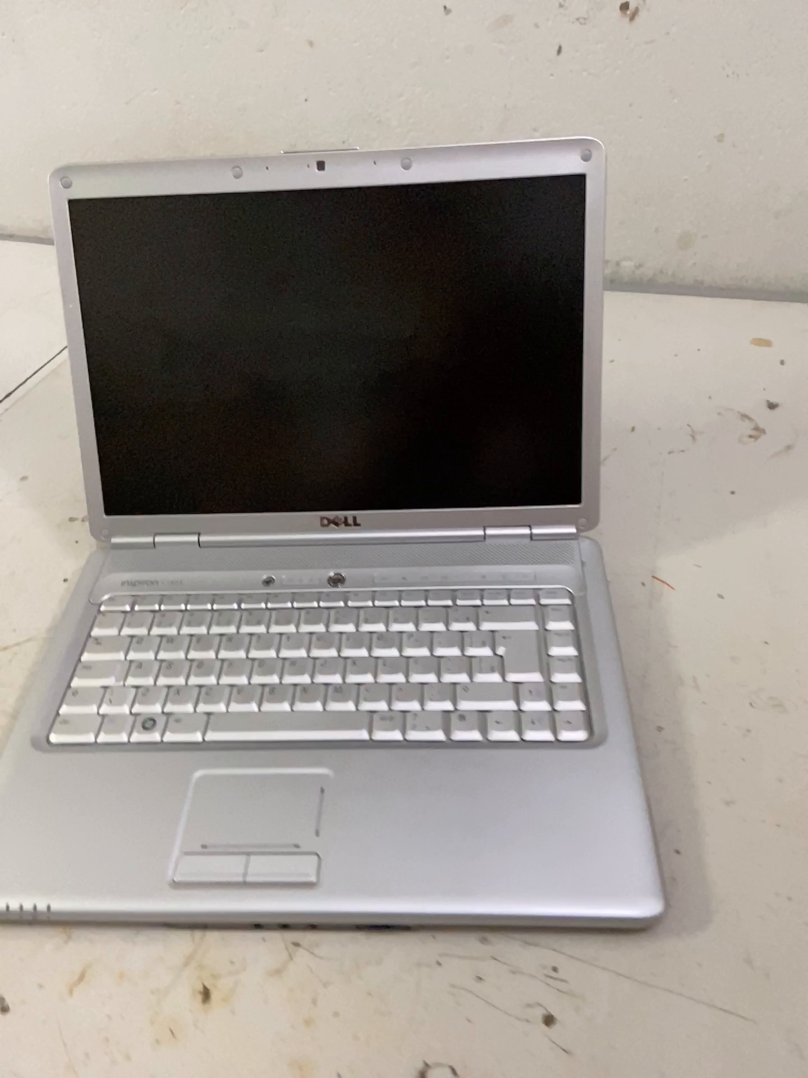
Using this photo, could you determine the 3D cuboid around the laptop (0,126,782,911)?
[{"bbox_3d":[-0.051,-0.037,0.458,0.349,0.208,0.379,-1,45,4],"label":"laptop"}]
